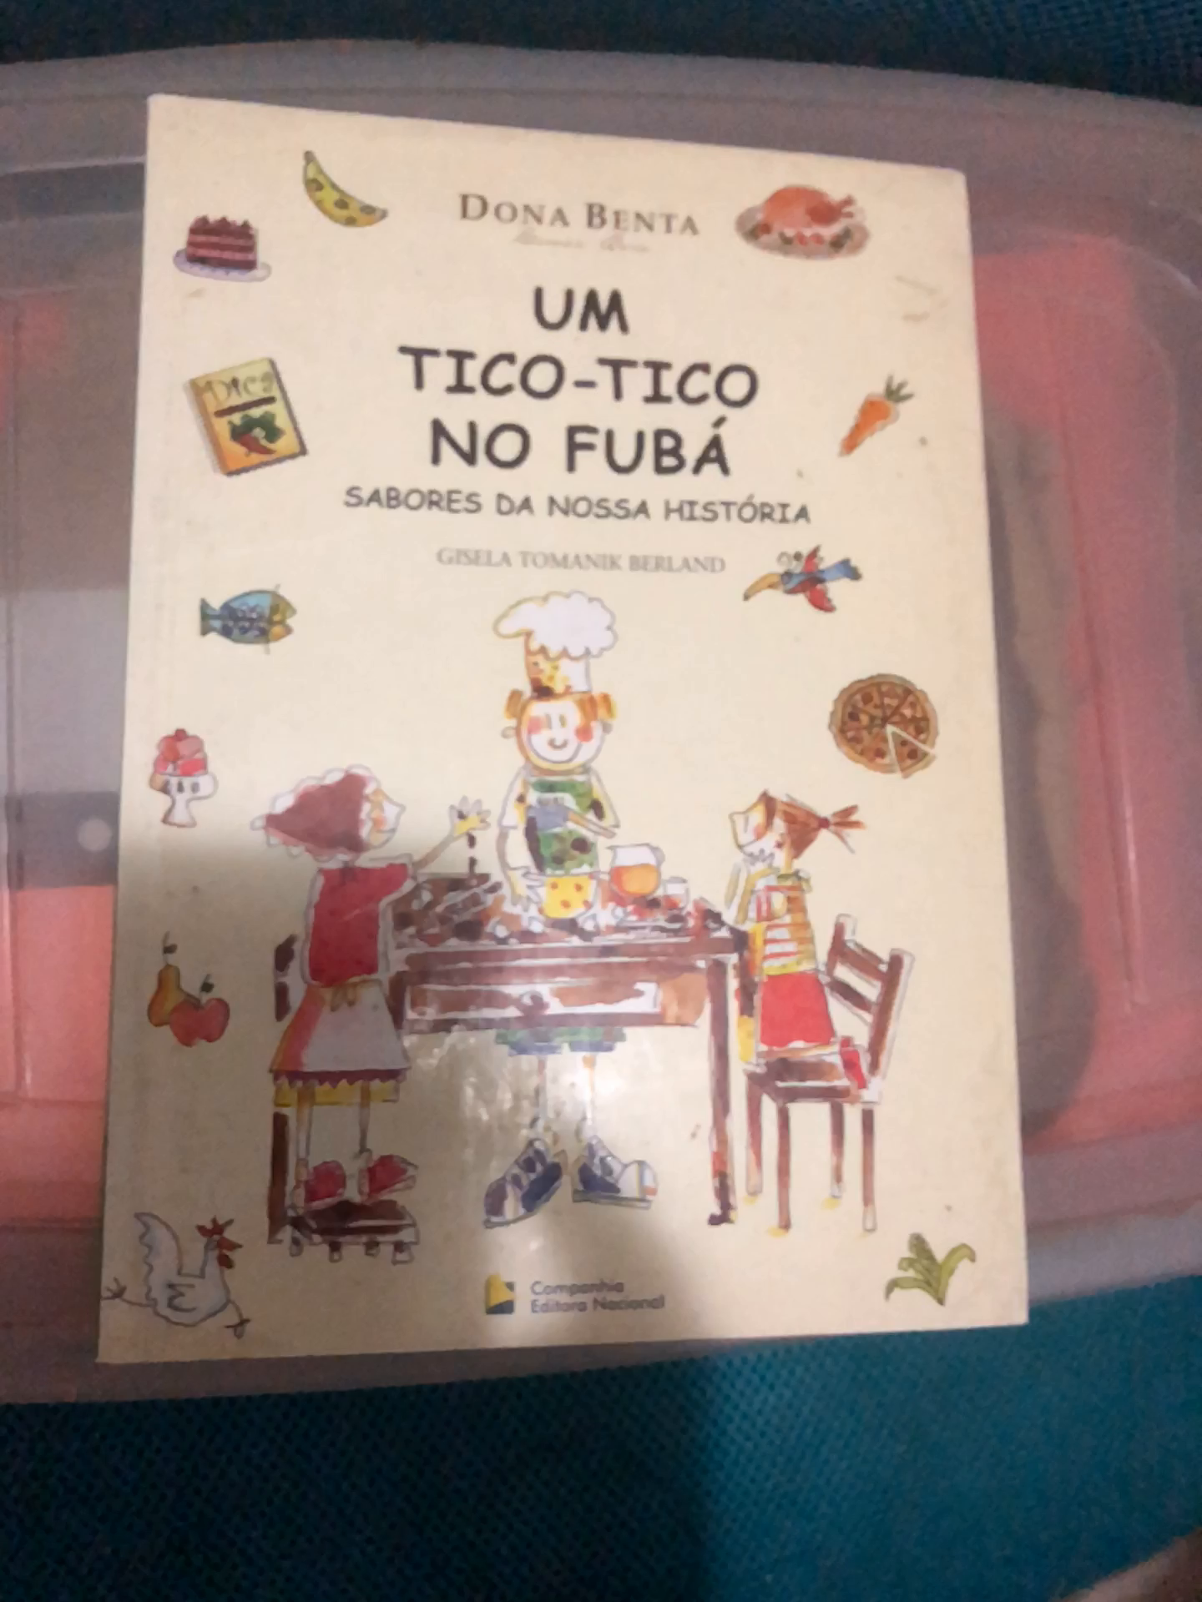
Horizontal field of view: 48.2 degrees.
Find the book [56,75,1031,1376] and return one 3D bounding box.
[{"bbox_3d":[-0.007,-0.018,0.260,0.172,0.020,0.232,1,82,-10],"label":"book"}]
